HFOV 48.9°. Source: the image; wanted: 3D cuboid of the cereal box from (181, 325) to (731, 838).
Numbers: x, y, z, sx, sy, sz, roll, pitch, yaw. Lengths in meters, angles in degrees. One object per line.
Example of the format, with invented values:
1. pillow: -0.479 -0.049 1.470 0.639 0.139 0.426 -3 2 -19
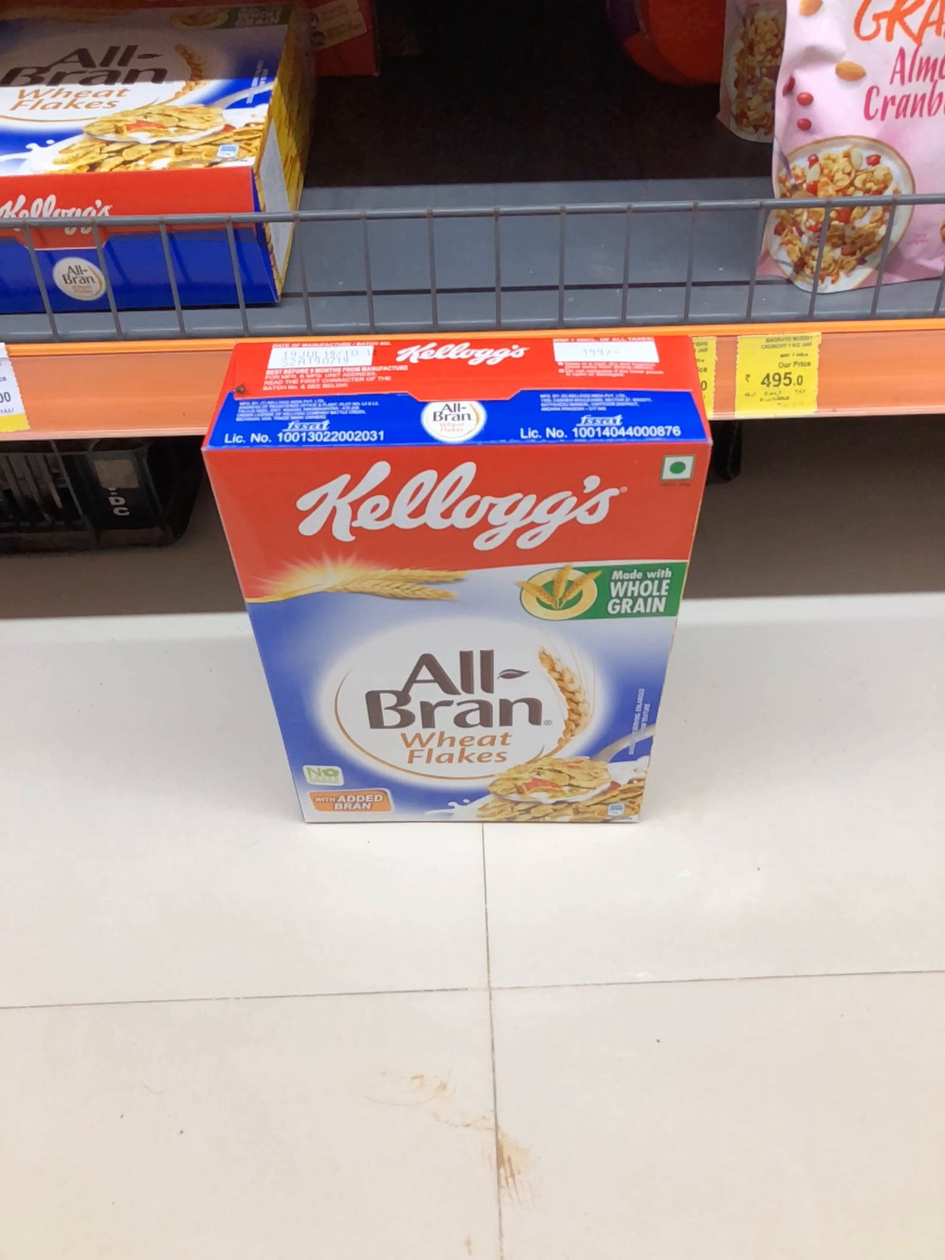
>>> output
1. cereal box: -0.004 -0.005 0.482 0.190 0.258 0.080 0 49 1
